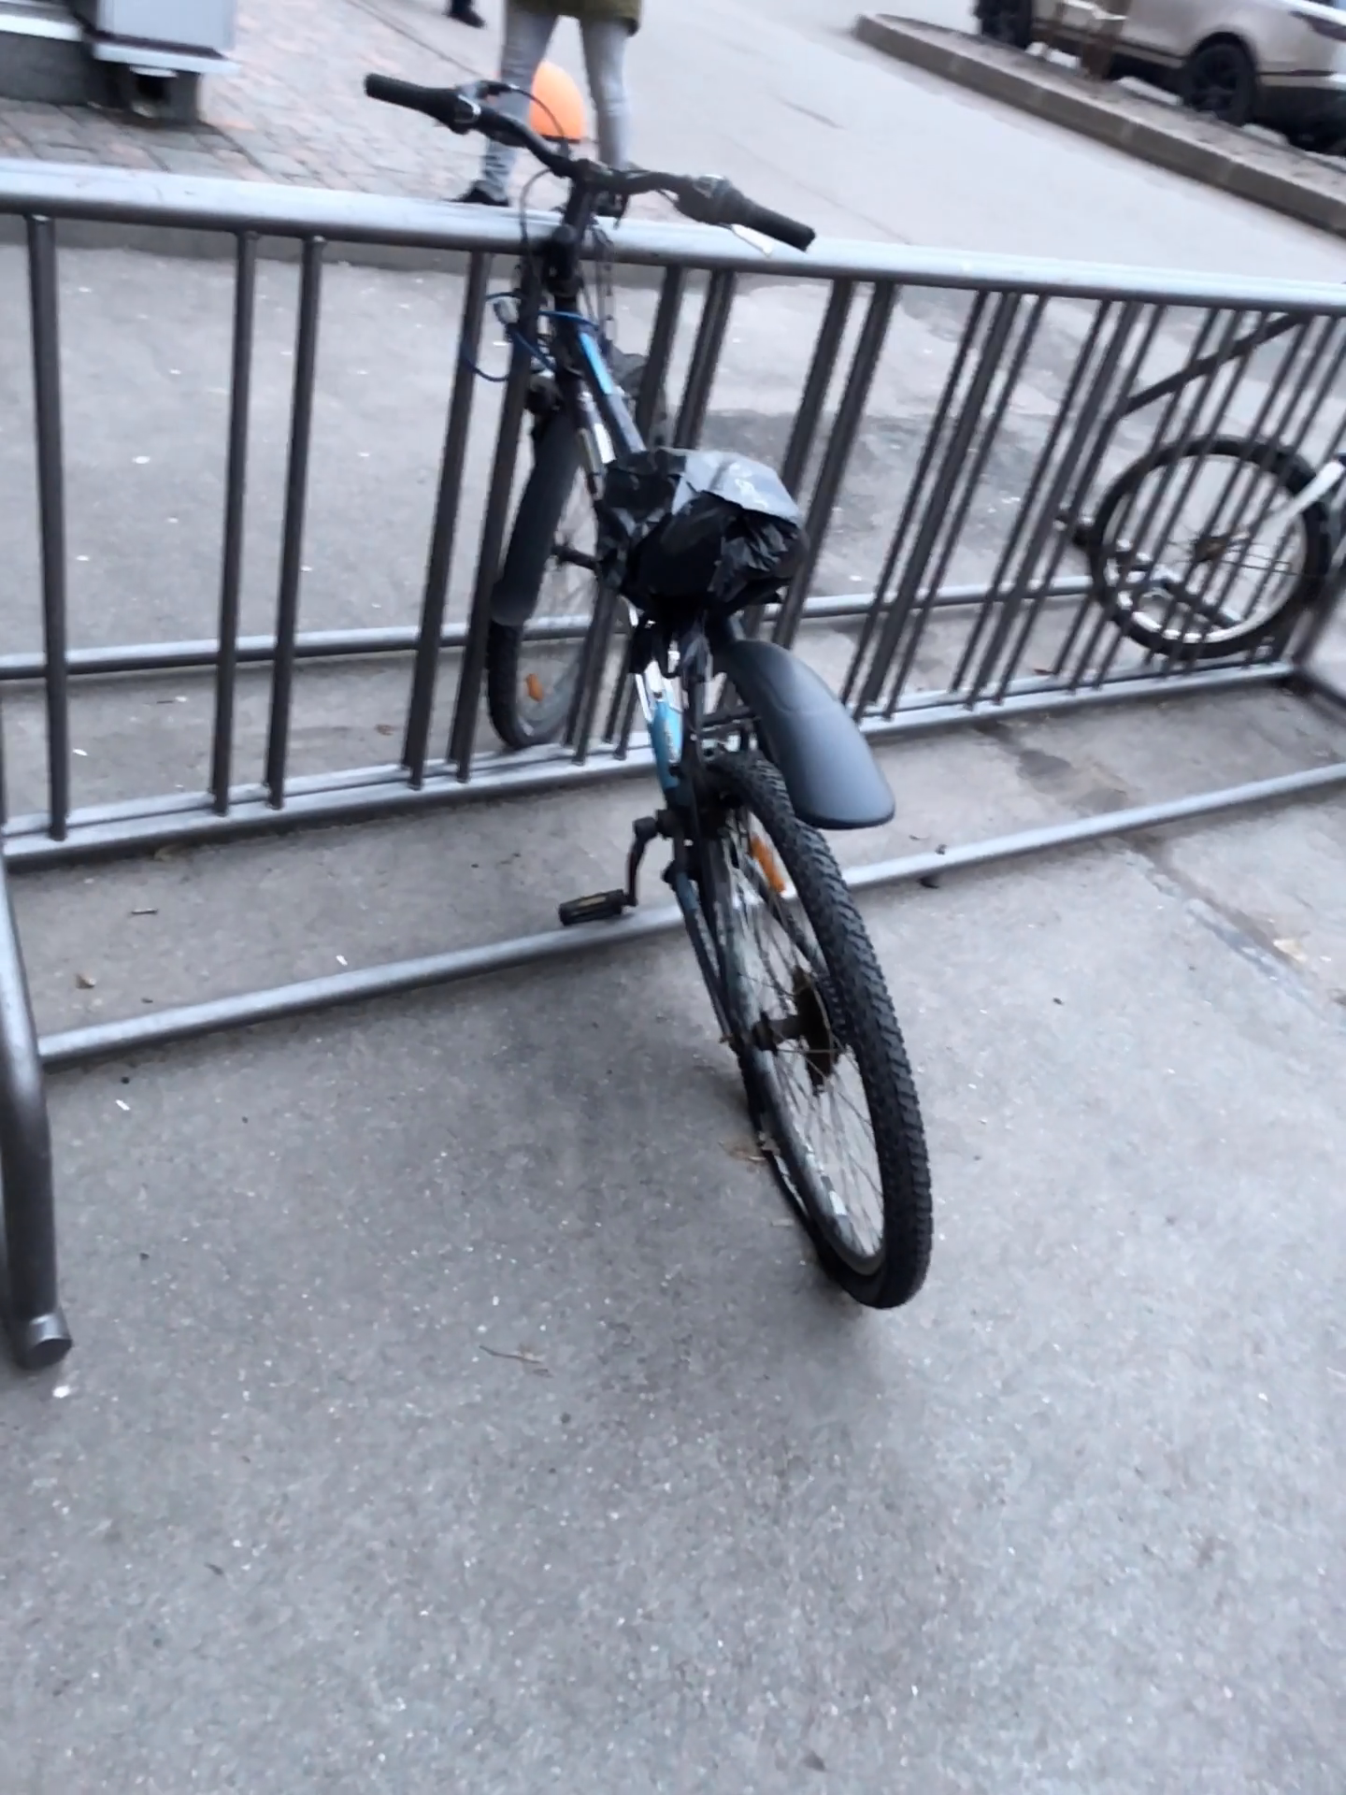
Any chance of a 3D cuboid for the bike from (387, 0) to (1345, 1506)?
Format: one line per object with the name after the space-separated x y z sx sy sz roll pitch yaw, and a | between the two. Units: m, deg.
-0.007 -0.350 1.835 0.535 1.050 1.593 5 40 -17 | bike
